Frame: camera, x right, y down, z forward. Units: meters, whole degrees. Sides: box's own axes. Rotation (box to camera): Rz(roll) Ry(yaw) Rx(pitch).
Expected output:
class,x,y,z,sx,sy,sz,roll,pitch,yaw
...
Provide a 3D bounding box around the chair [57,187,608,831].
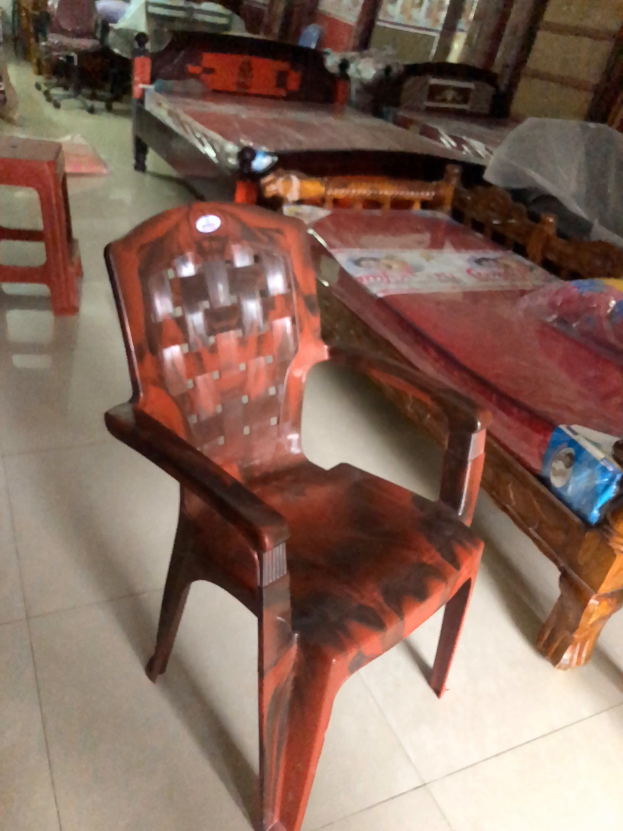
class,x,y,z,sx,sy,sz,roll,pitch,yaw
chair,-0.025,0.143,1.170,0.533,0.865,0.560,-21,42,-41
